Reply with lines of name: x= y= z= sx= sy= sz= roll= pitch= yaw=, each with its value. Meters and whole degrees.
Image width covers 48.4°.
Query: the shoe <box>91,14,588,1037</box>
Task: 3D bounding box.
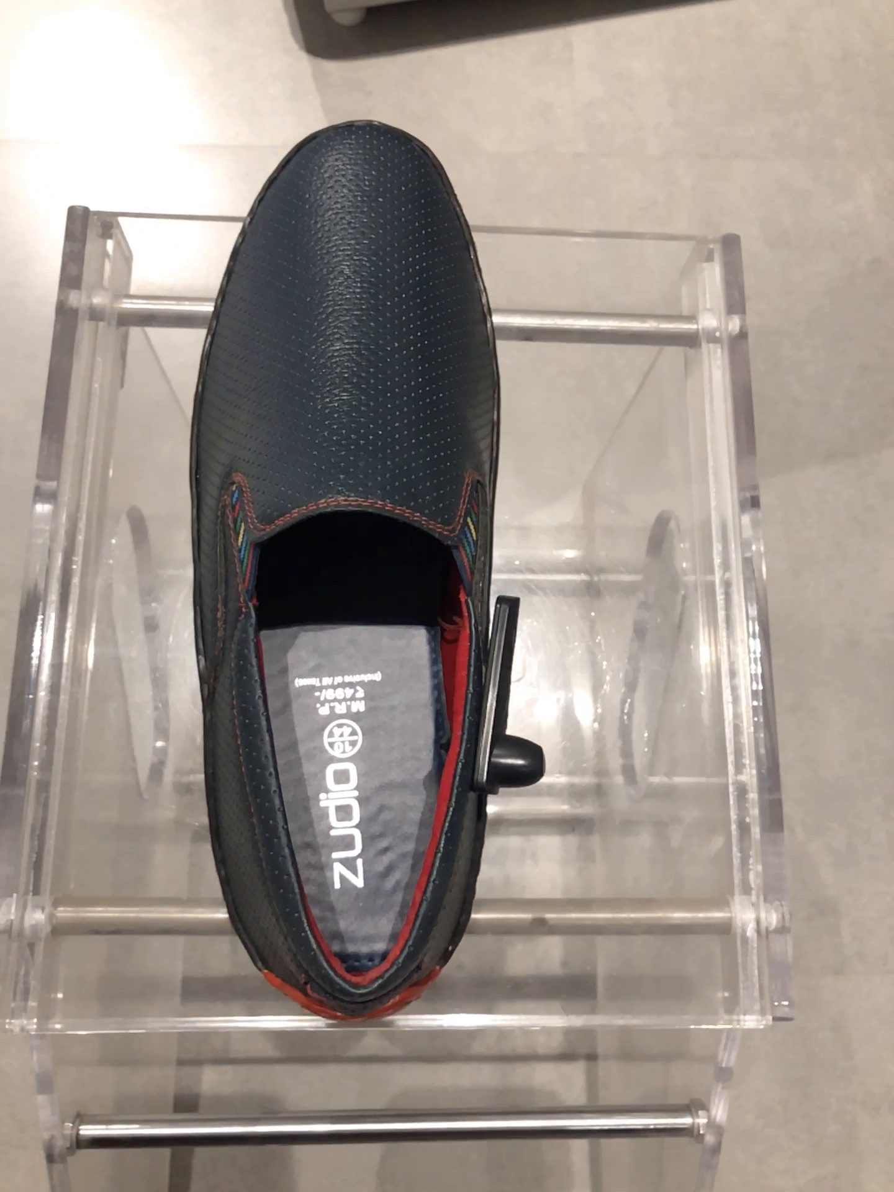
shoe: x=-0.031 y=-0.024 z=0.302 sx=0.110 sy=0.100 sz=0.270 roll=-2 pitch=76 yaw=-3
